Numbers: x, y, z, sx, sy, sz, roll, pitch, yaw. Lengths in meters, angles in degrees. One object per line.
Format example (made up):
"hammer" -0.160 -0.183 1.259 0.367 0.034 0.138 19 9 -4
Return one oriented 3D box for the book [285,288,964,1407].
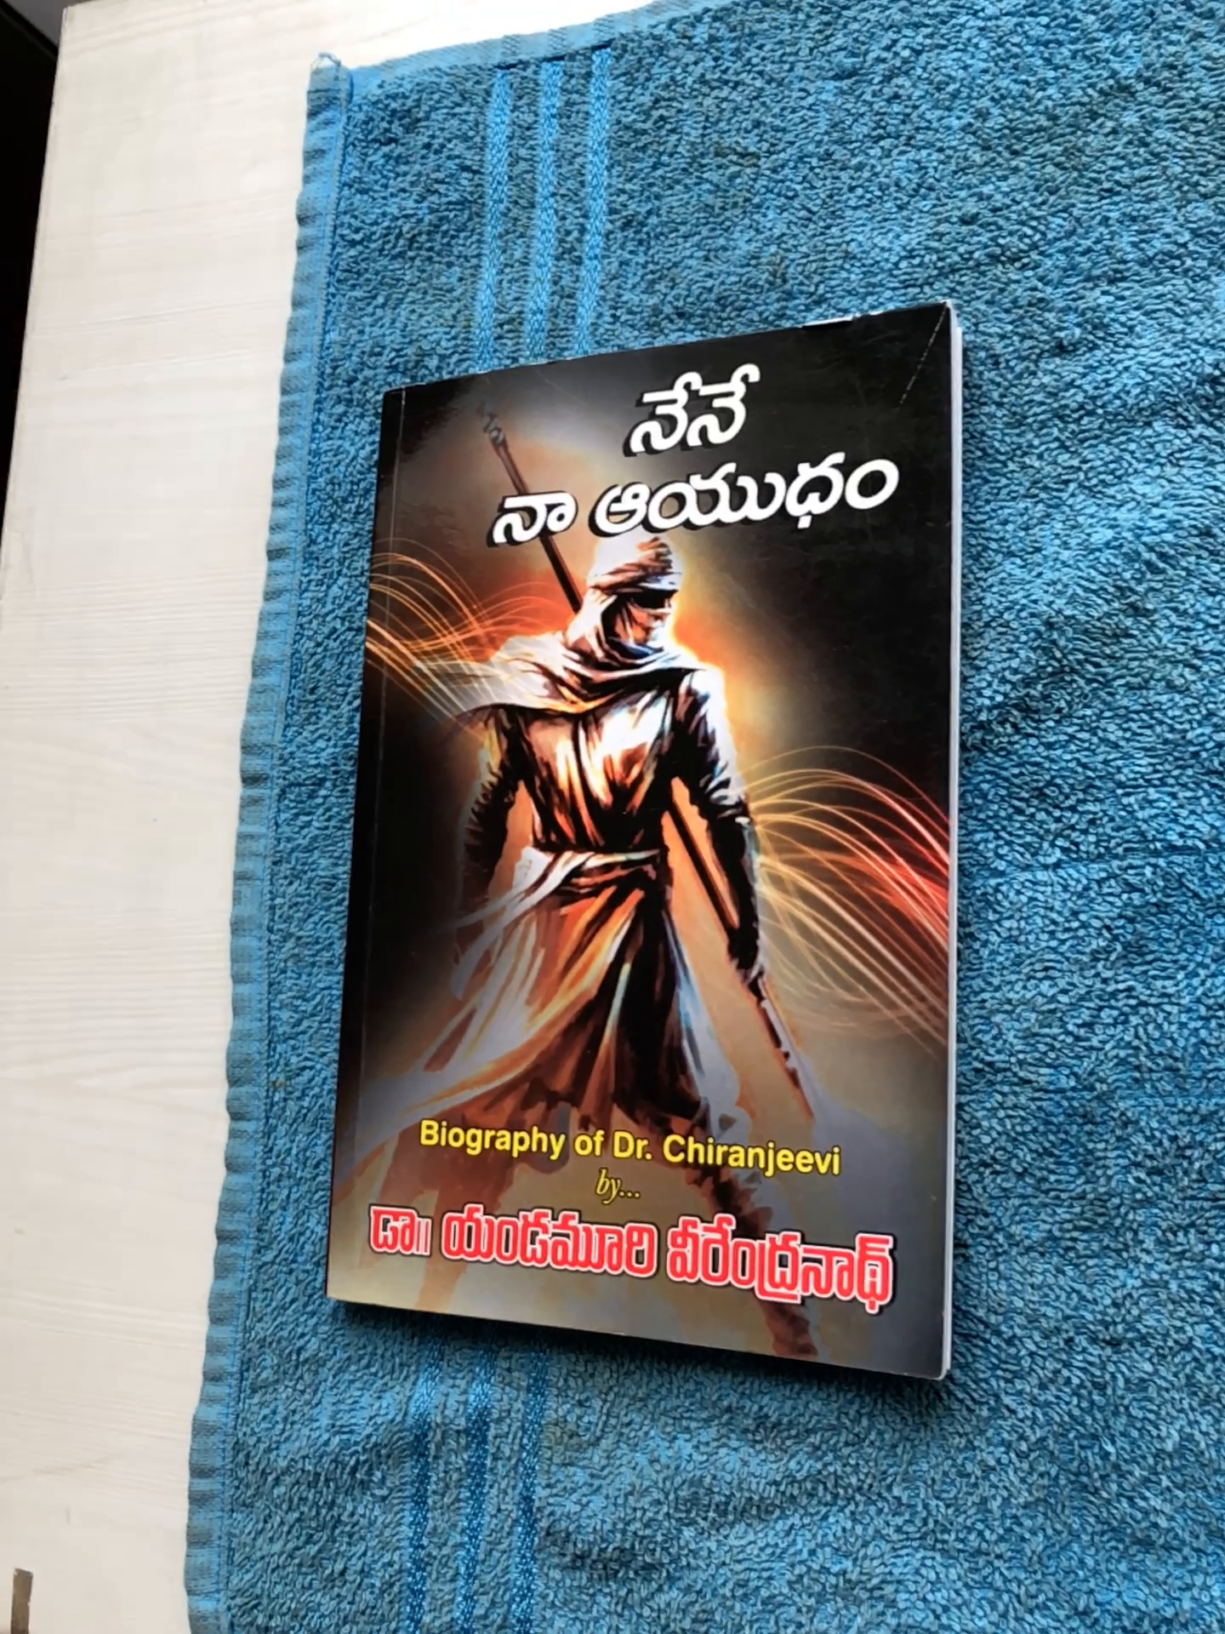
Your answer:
"book" 0.004 0.003 0.304 0.140 0.030 0.220 0 82 20
